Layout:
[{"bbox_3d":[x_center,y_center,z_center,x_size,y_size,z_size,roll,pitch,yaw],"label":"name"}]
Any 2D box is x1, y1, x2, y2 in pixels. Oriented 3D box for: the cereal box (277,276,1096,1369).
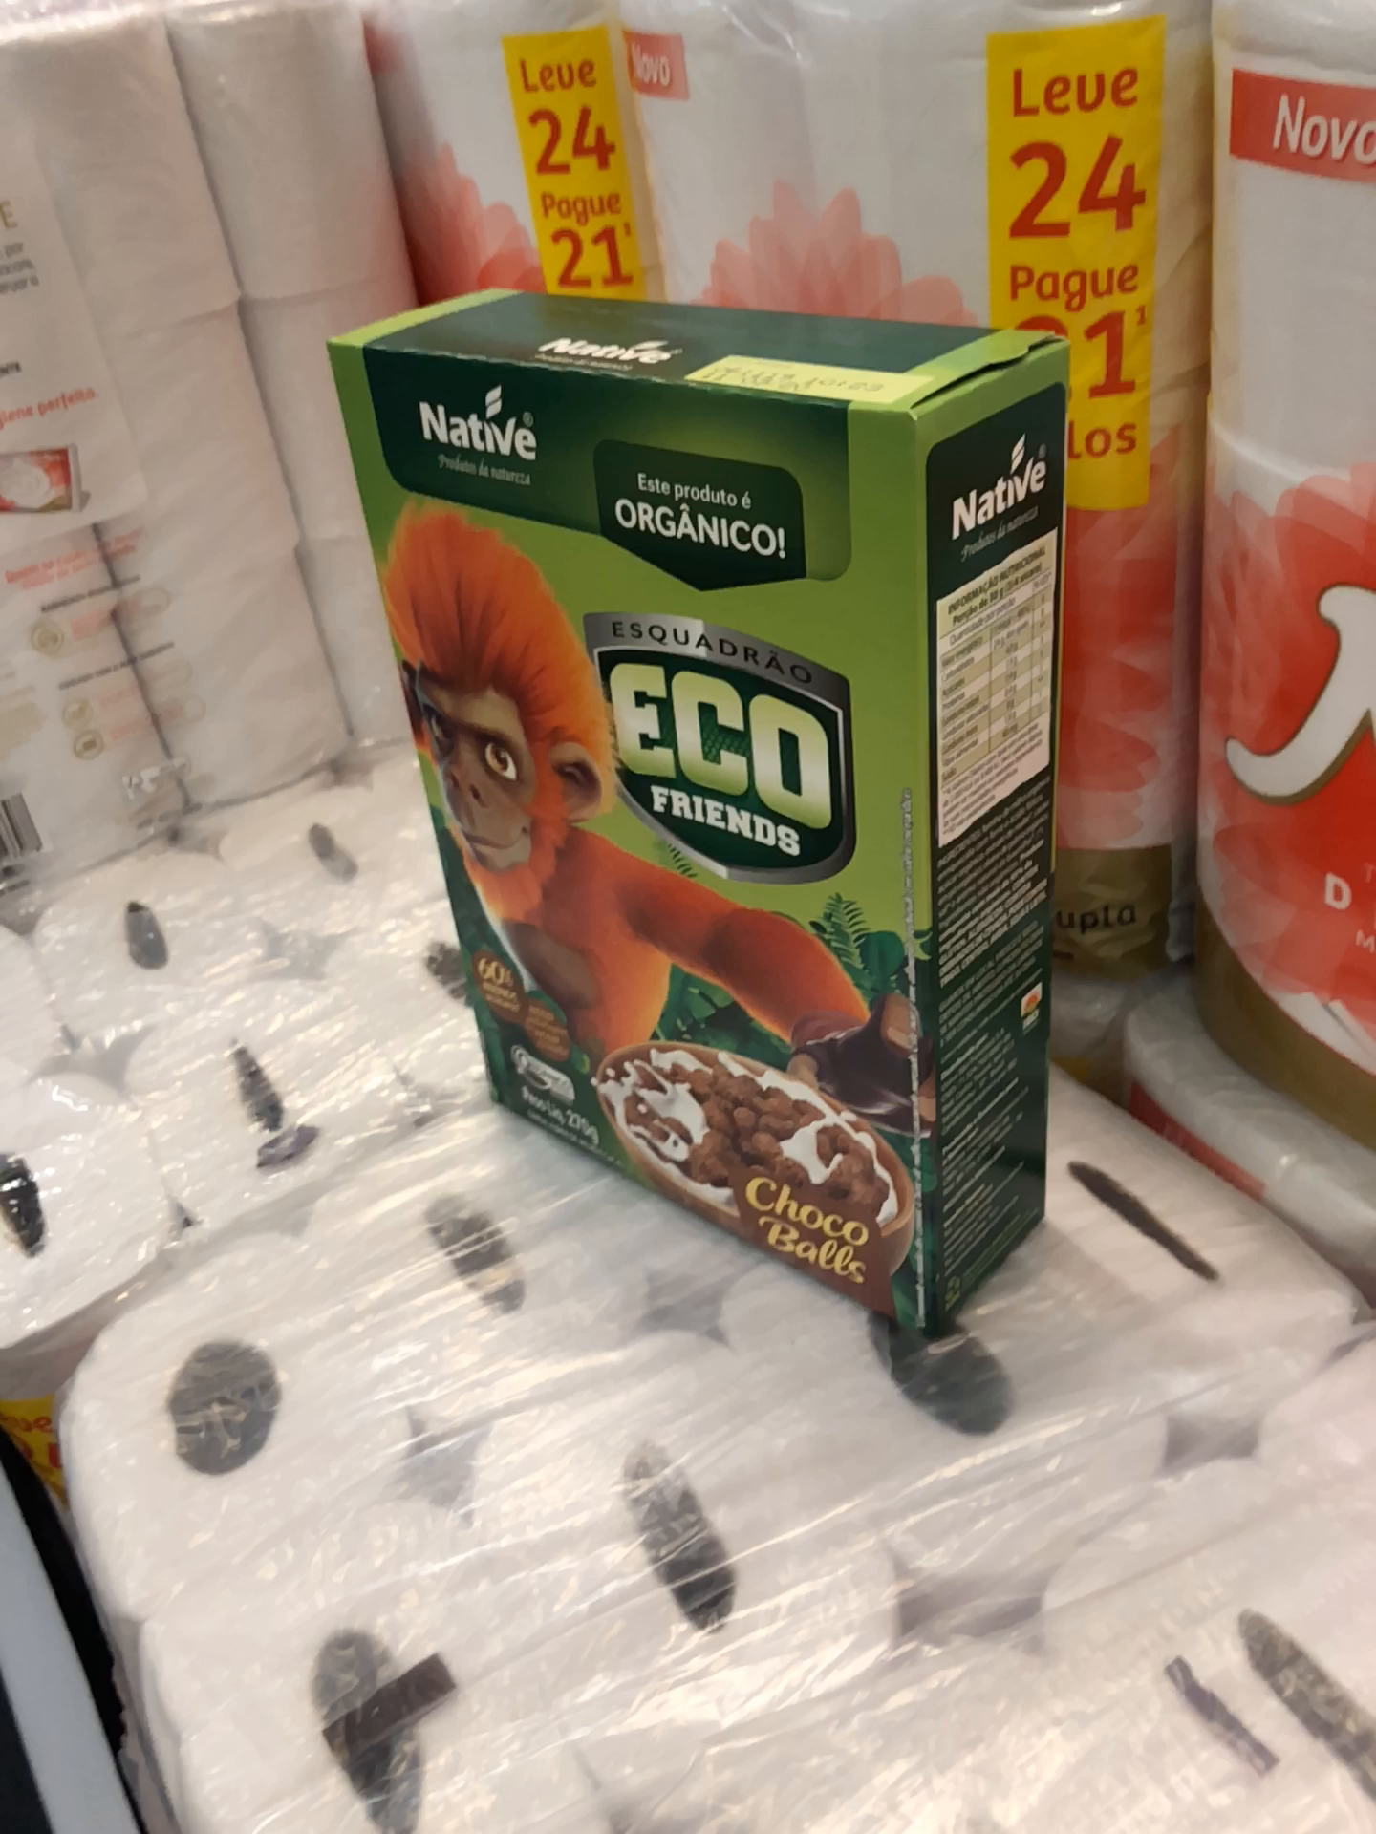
[{"bbox_3d":[0.000,-0.028,0.382,0.181,0.228,0.060,23,42,37],"label":"cereal box"}]
